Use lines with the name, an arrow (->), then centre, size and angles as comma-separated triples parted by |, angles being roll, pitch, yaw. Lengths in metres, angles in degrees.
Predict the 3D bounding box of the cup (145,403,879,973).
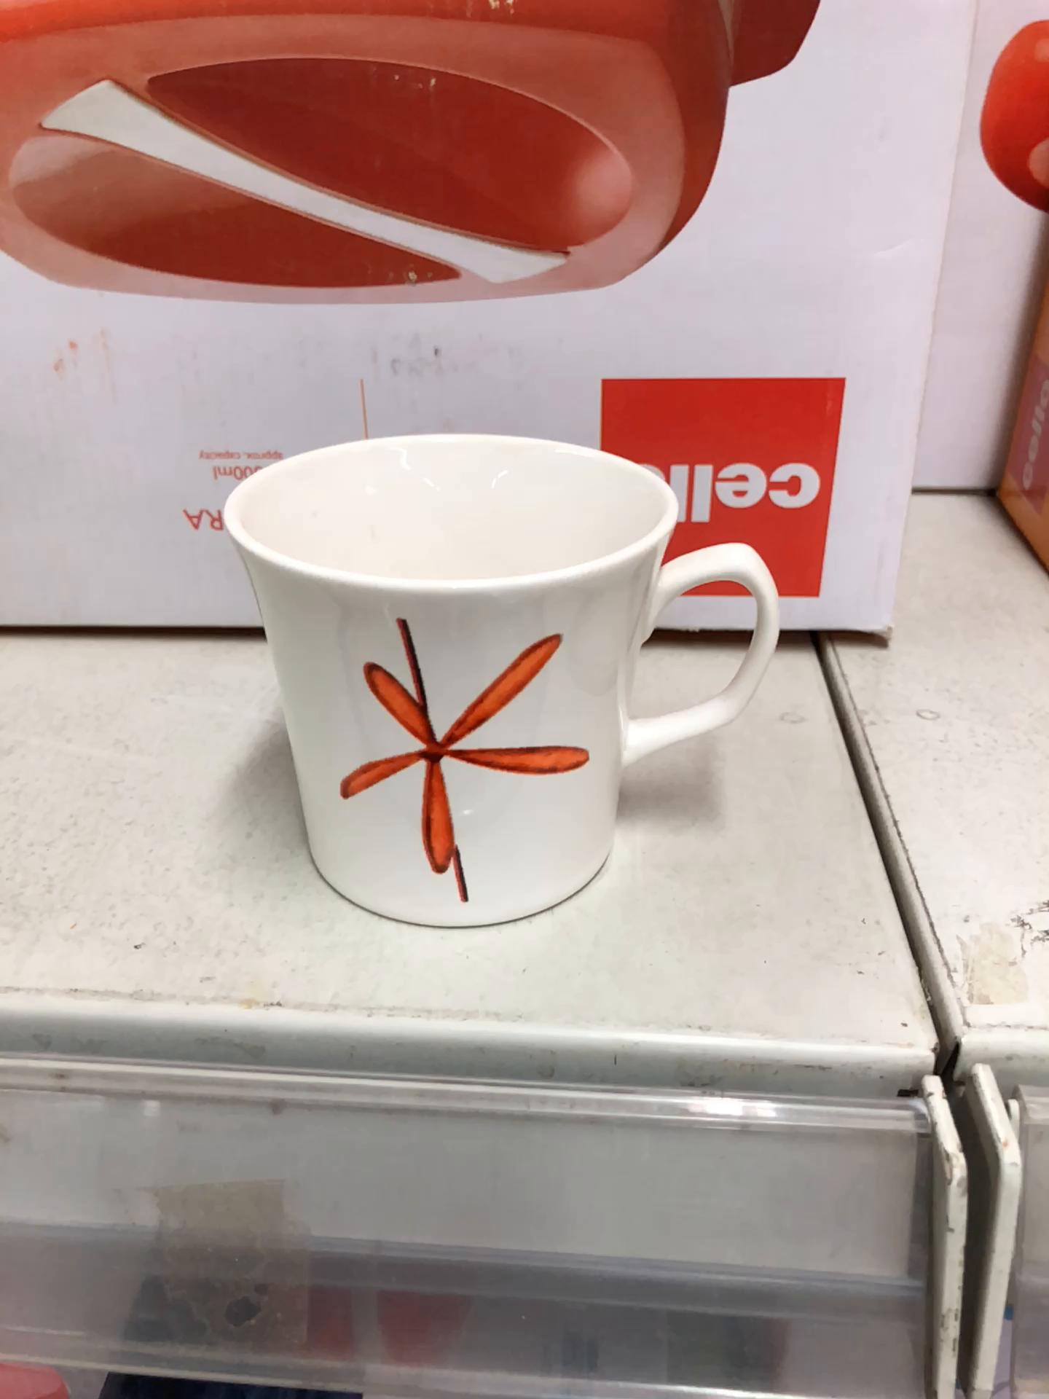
cup -> -0.003, -0.006, 0.207 | 0.100, 0.070, 0.070 | -3, 29, -5
